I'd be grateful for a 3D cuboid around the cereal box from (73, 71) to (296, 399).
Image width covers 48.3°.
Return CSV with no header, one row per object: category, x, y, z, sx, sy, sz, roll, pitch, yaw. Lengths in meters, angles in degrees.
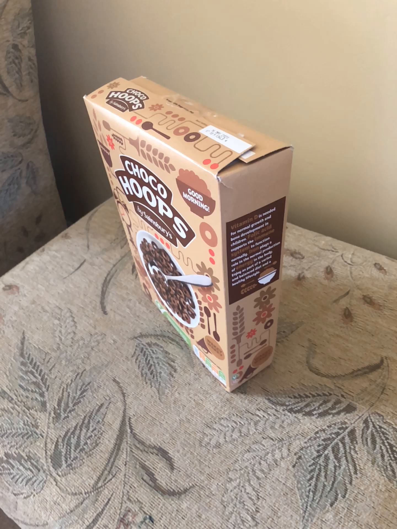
cereal box,-0.014,-0.027,0.453,0.080,0.258,0.211,-29,47,-22
